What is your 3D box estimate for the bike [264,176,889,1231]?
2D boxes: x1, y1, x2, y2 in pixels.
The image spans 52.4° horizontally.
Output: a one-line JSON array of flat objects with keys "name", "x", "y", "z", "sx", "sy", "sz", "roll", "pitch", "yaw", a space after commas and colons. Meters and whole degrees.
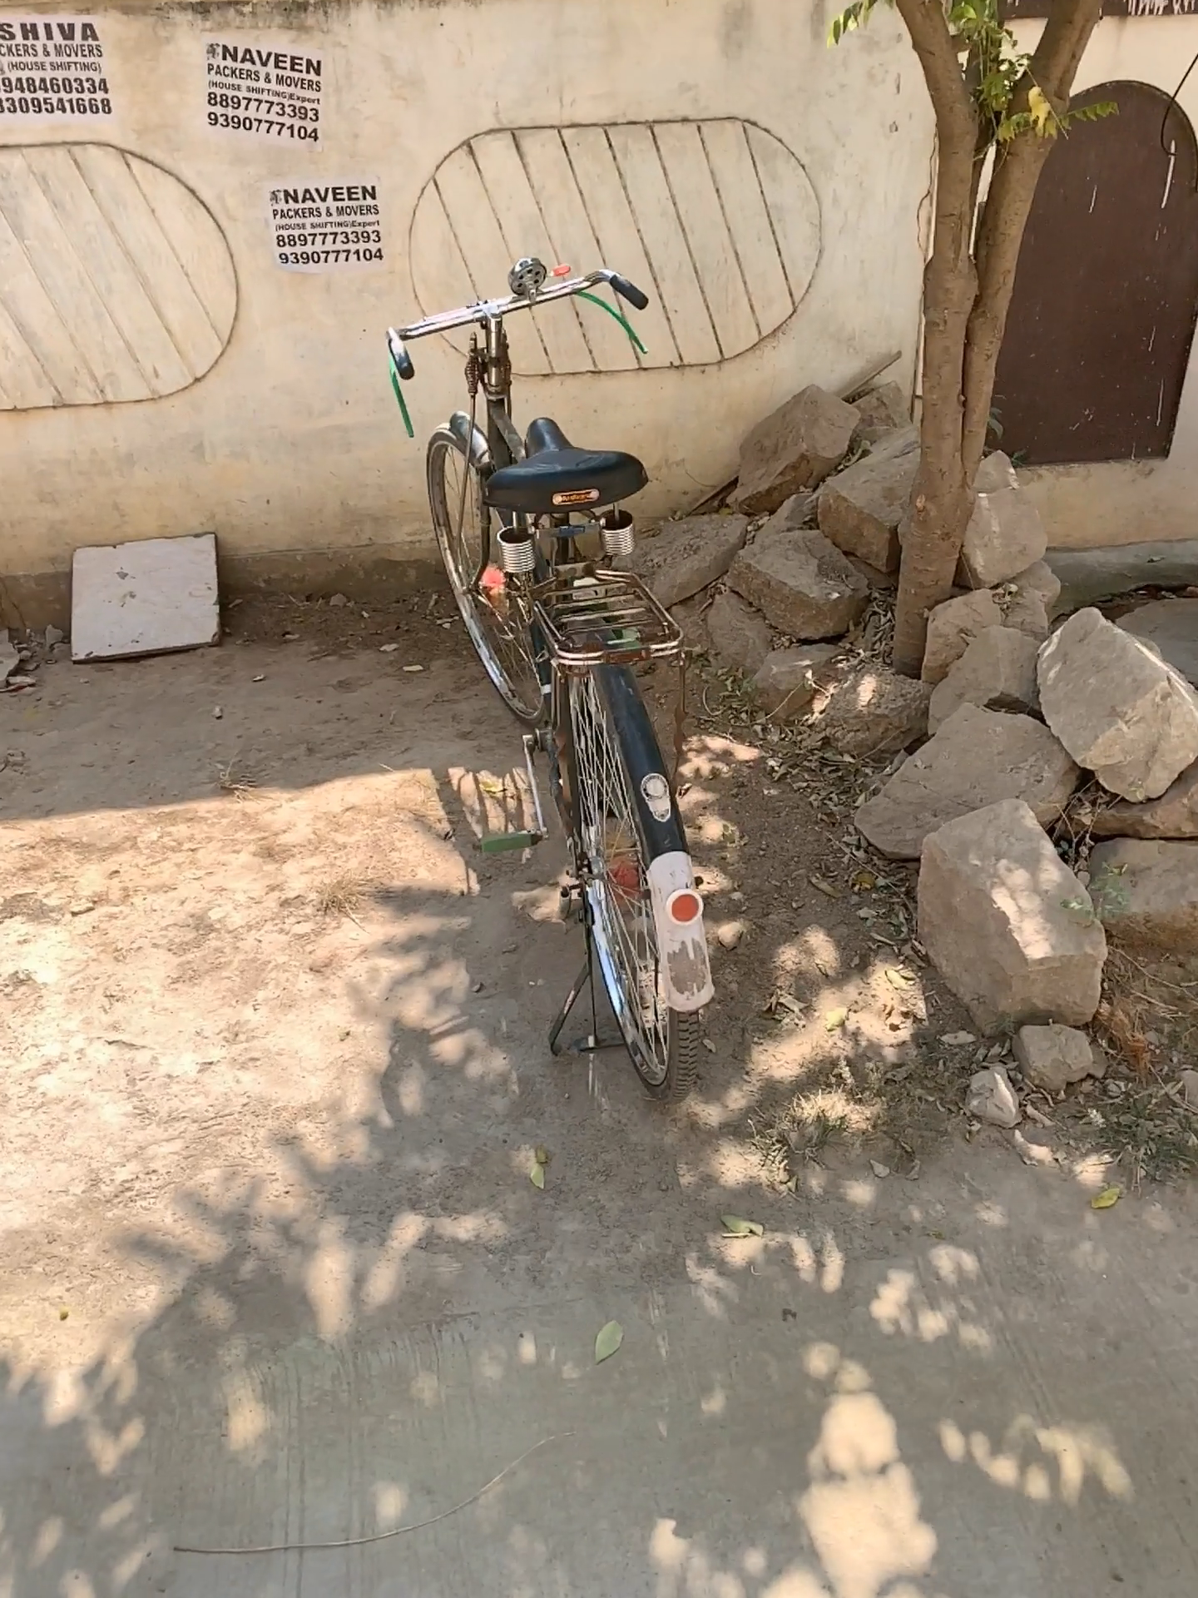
[{"name": "bike", "x": -0.168, "y": -0.348, "z": 2.083, "sx": 0.465, "sy": 0.994, "sz": 1.661, "roll": -11, "pitch": 36, "yaw": -14}]
